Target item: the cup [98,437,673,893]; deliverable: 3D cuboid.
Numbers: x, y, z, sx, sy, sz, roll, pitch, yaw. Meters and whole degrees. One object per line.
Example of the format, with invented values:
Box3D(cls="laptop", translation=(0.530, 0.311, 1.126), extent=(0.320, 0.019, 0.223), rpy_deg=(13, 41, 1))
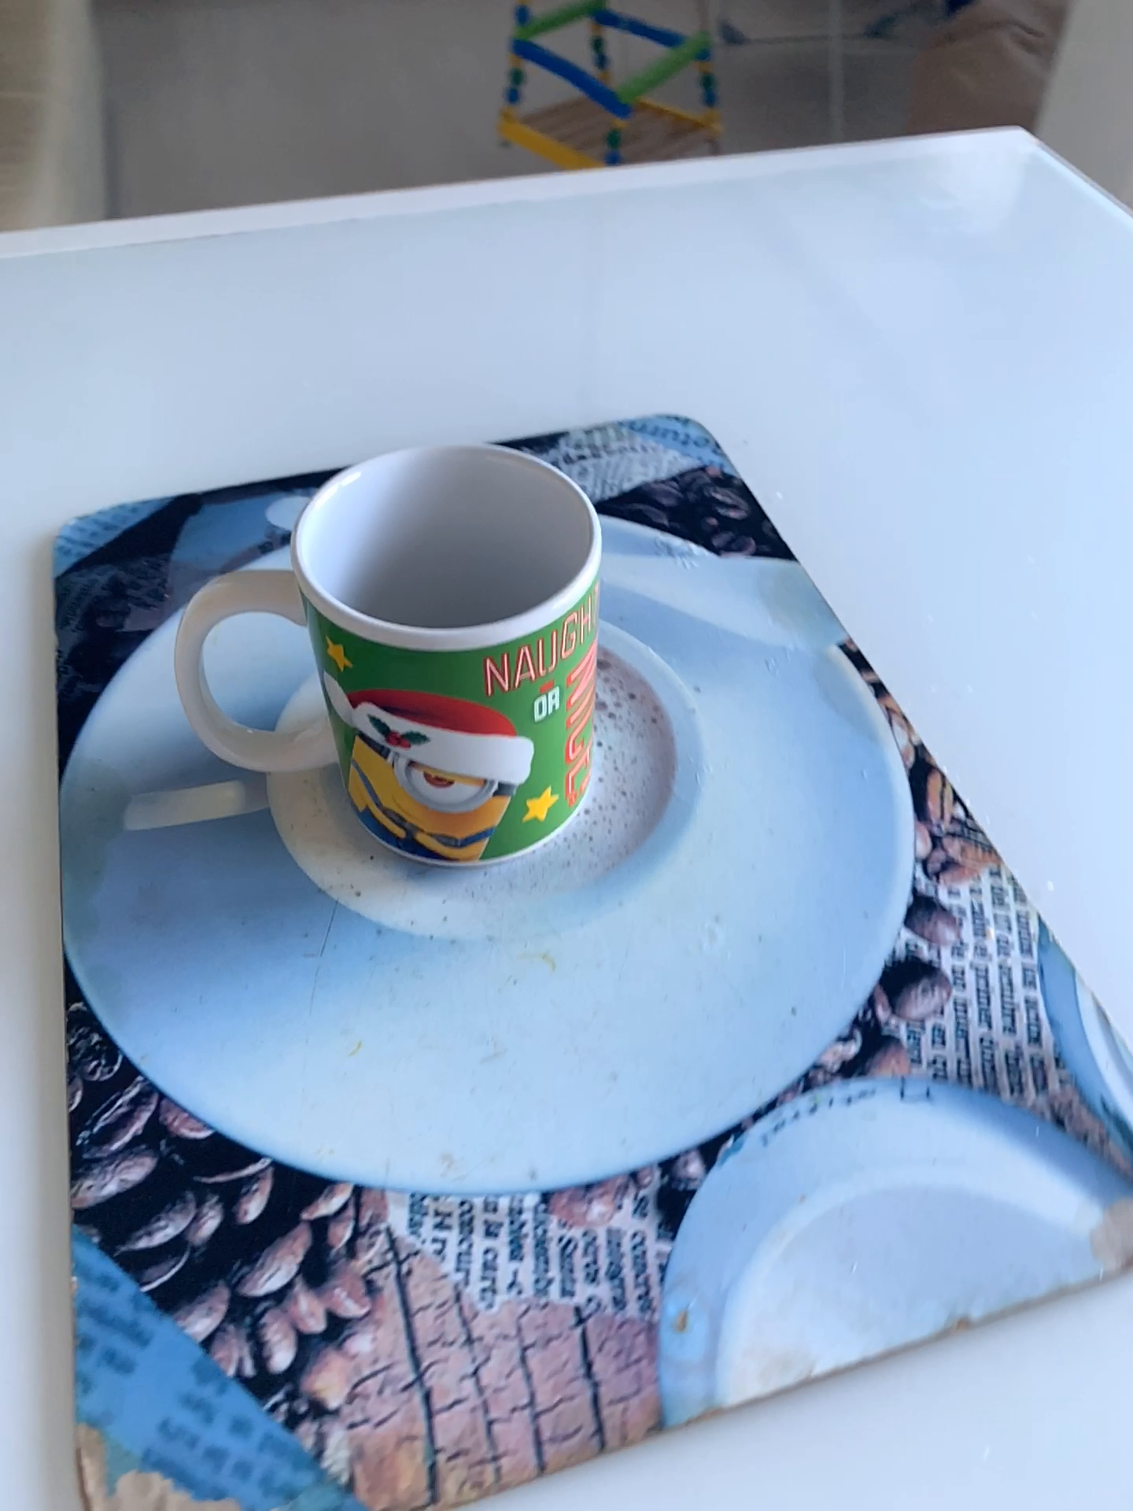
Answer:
Box3D(cls="cup", translation=(-0.046, -0.027, 0.332), extent=(0.133, 0.077, 0.094), rpy_deg=(-4, 49, -5))
